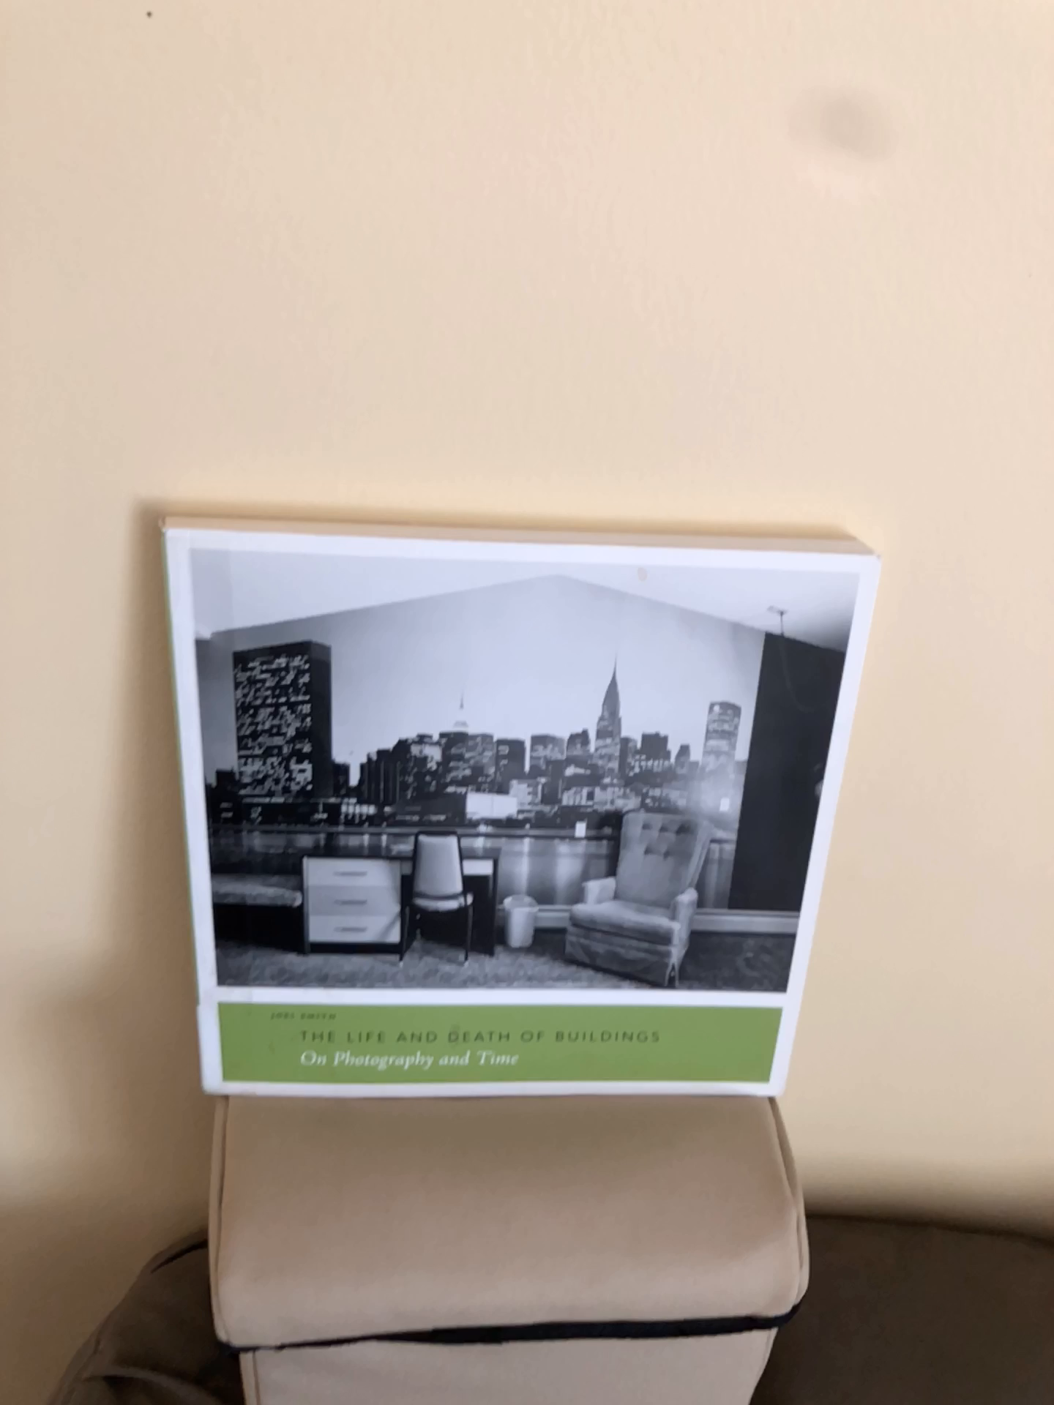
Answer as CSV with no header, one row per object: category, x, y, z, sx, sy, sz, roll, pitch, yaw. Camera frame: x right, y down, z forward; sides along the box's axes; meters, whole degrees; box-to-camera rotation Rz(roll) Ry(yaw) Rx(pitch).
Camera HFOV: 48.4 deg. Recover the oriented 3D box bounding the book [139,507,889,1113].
book,-0.007,0.043,0.382,0.216,0.203,0.020,1,22,-8
